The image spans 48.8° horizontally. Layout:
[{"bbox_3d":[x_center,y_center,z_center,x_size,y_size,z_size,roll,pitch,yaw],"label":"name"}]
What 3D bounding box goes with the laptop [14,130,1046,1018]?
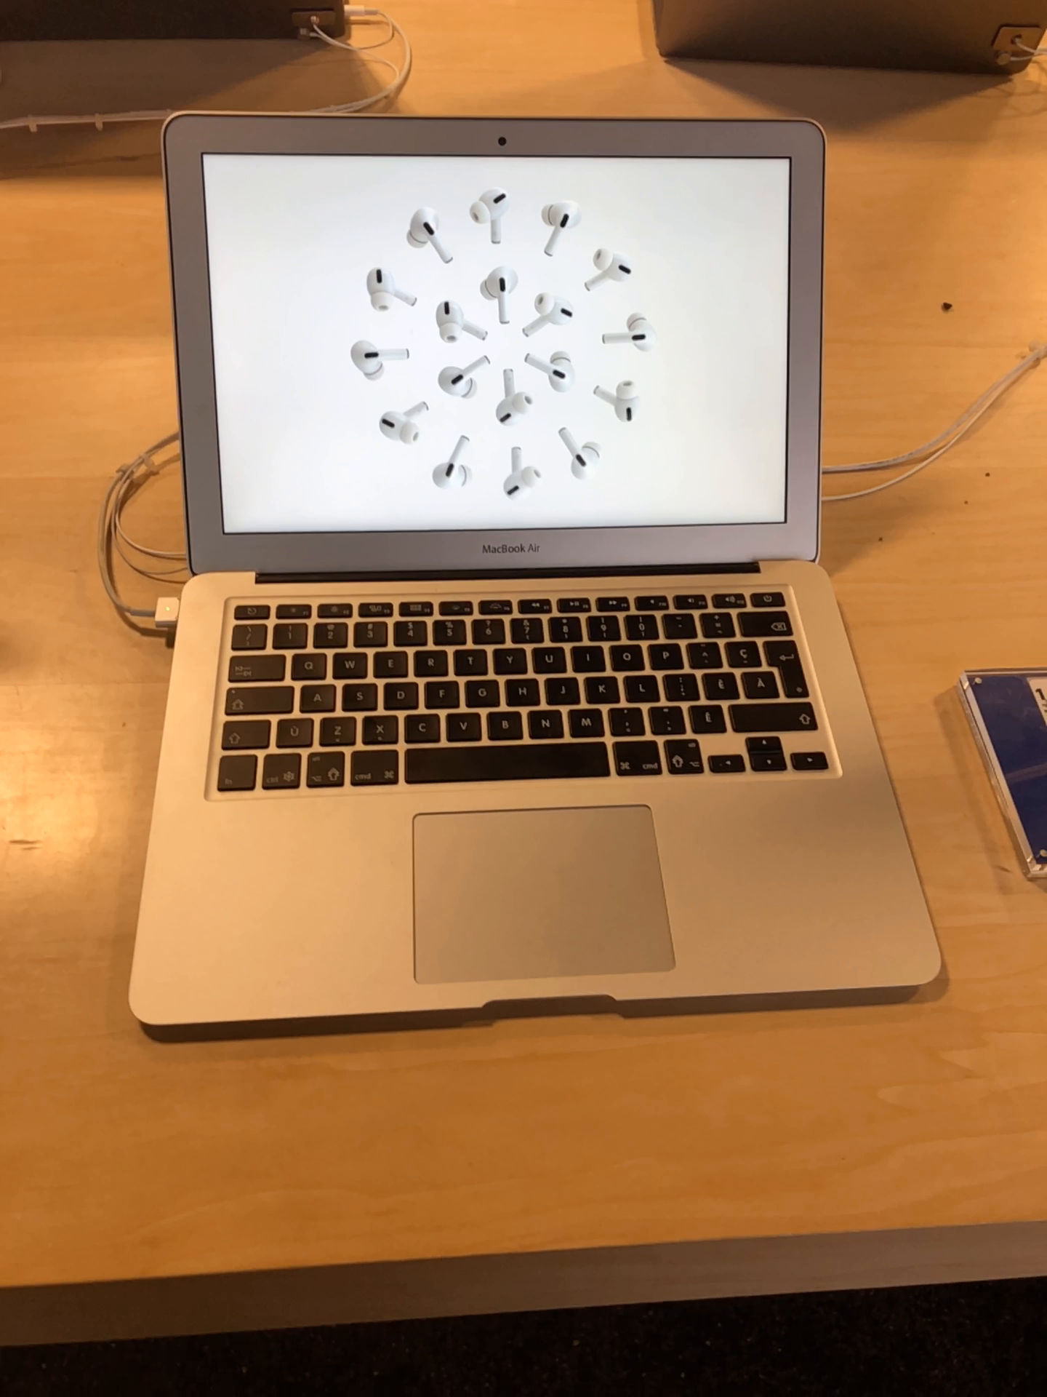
[{"bbox_3d":[0.000,-0.078,0.499,0.311,0.151,0.372,-2,53,-5],"label":"laptop"}]
